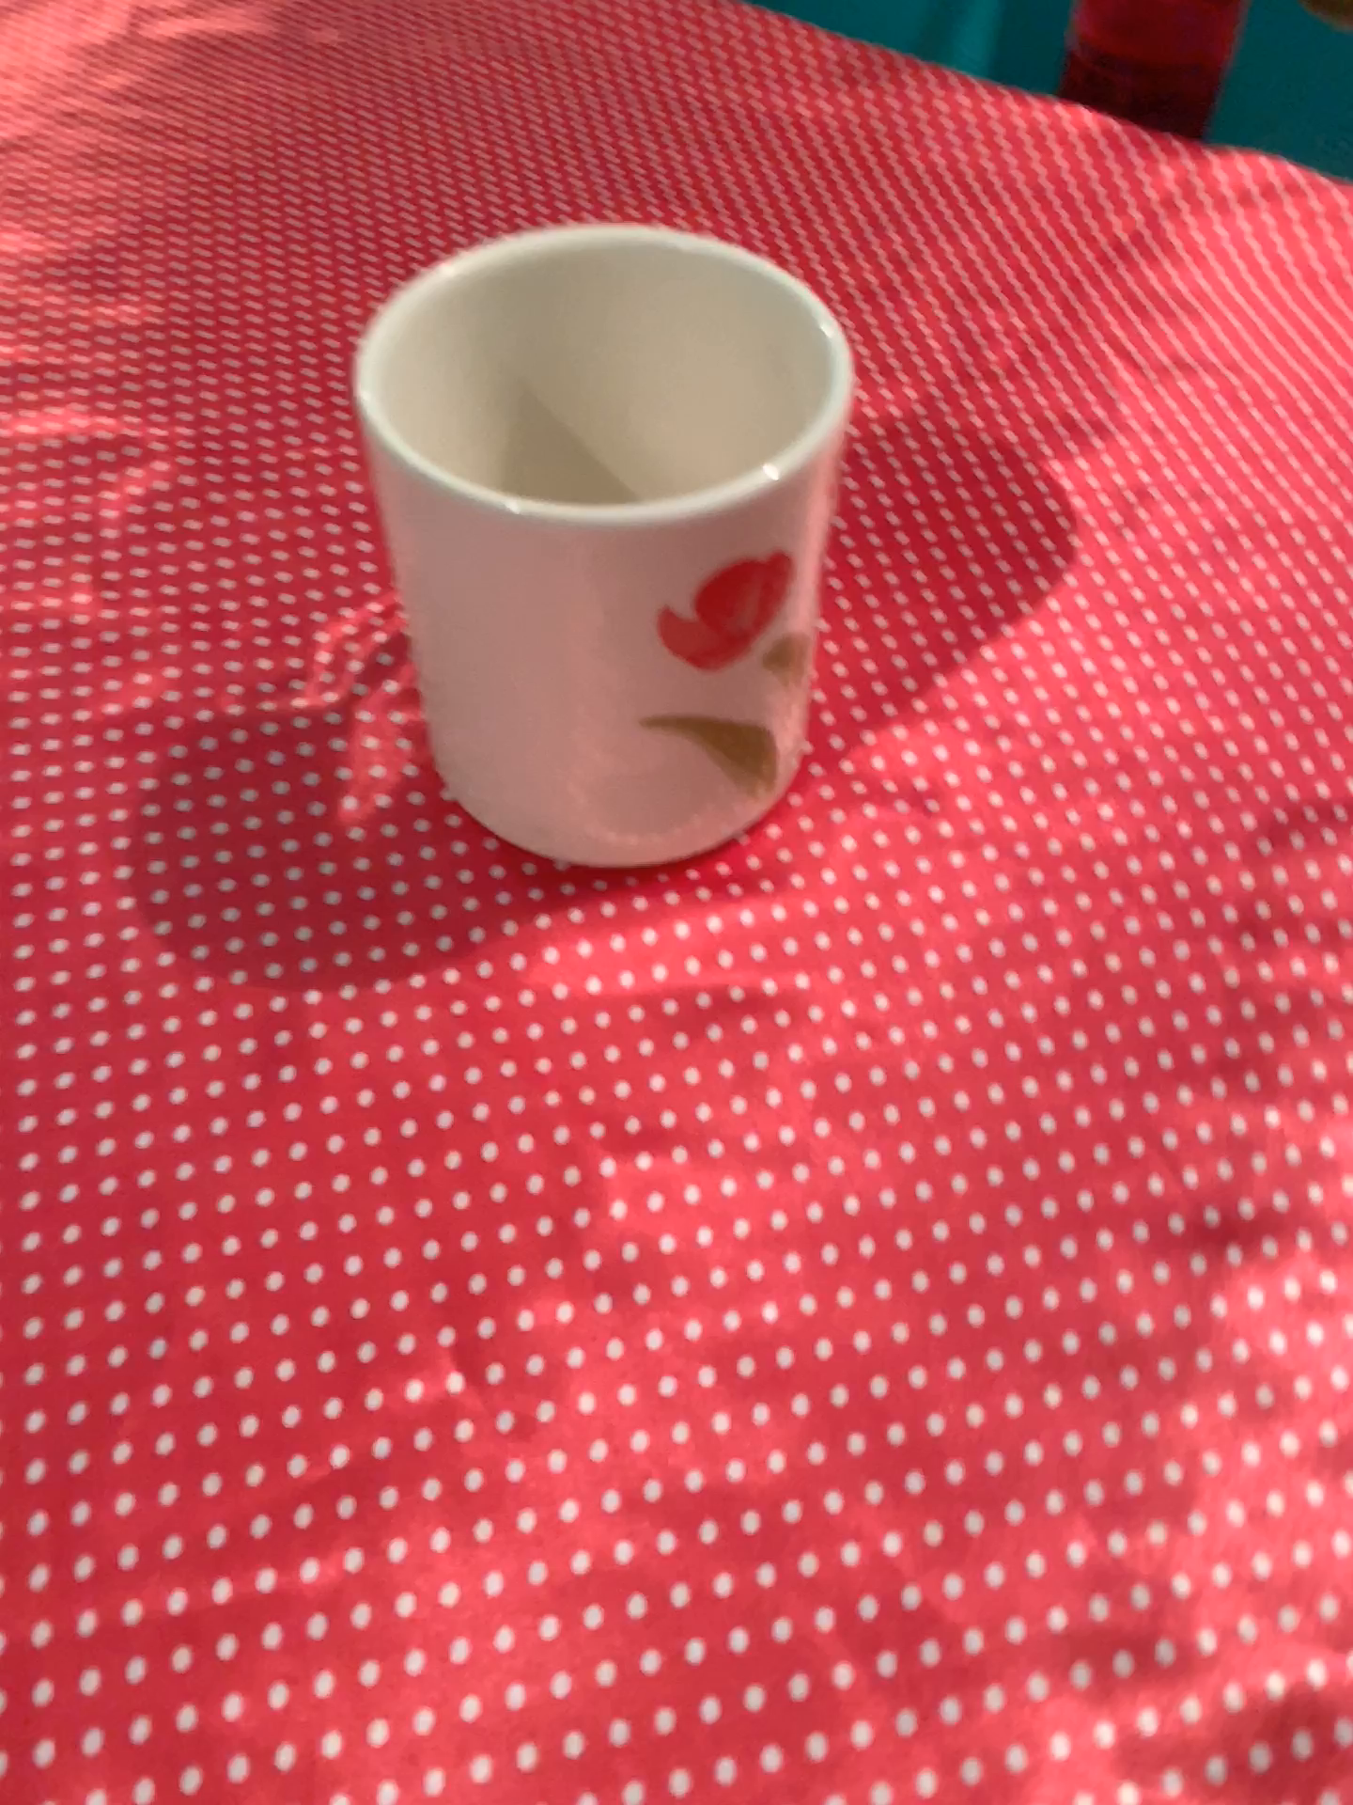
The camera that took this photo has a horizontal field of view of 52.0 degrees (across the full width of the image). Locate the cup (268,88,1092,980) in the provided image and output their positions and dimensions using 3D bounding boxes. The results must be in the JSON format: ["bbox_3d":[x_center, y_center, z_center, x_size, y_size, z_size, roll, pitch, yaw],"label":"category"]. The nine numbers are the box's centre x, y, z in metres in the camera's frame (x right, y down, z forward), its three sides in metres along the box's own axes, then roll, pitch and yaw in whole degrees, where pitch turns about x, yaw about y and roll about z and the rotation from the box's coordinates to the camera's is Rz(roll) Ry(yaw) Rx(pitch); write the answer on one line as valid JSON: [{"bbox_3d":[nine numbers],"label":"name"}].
[{"bbox_3d":[0.006,-0.072,0.264,0.090,0.090,0.120,23,57,15],"label":"cup"}]
